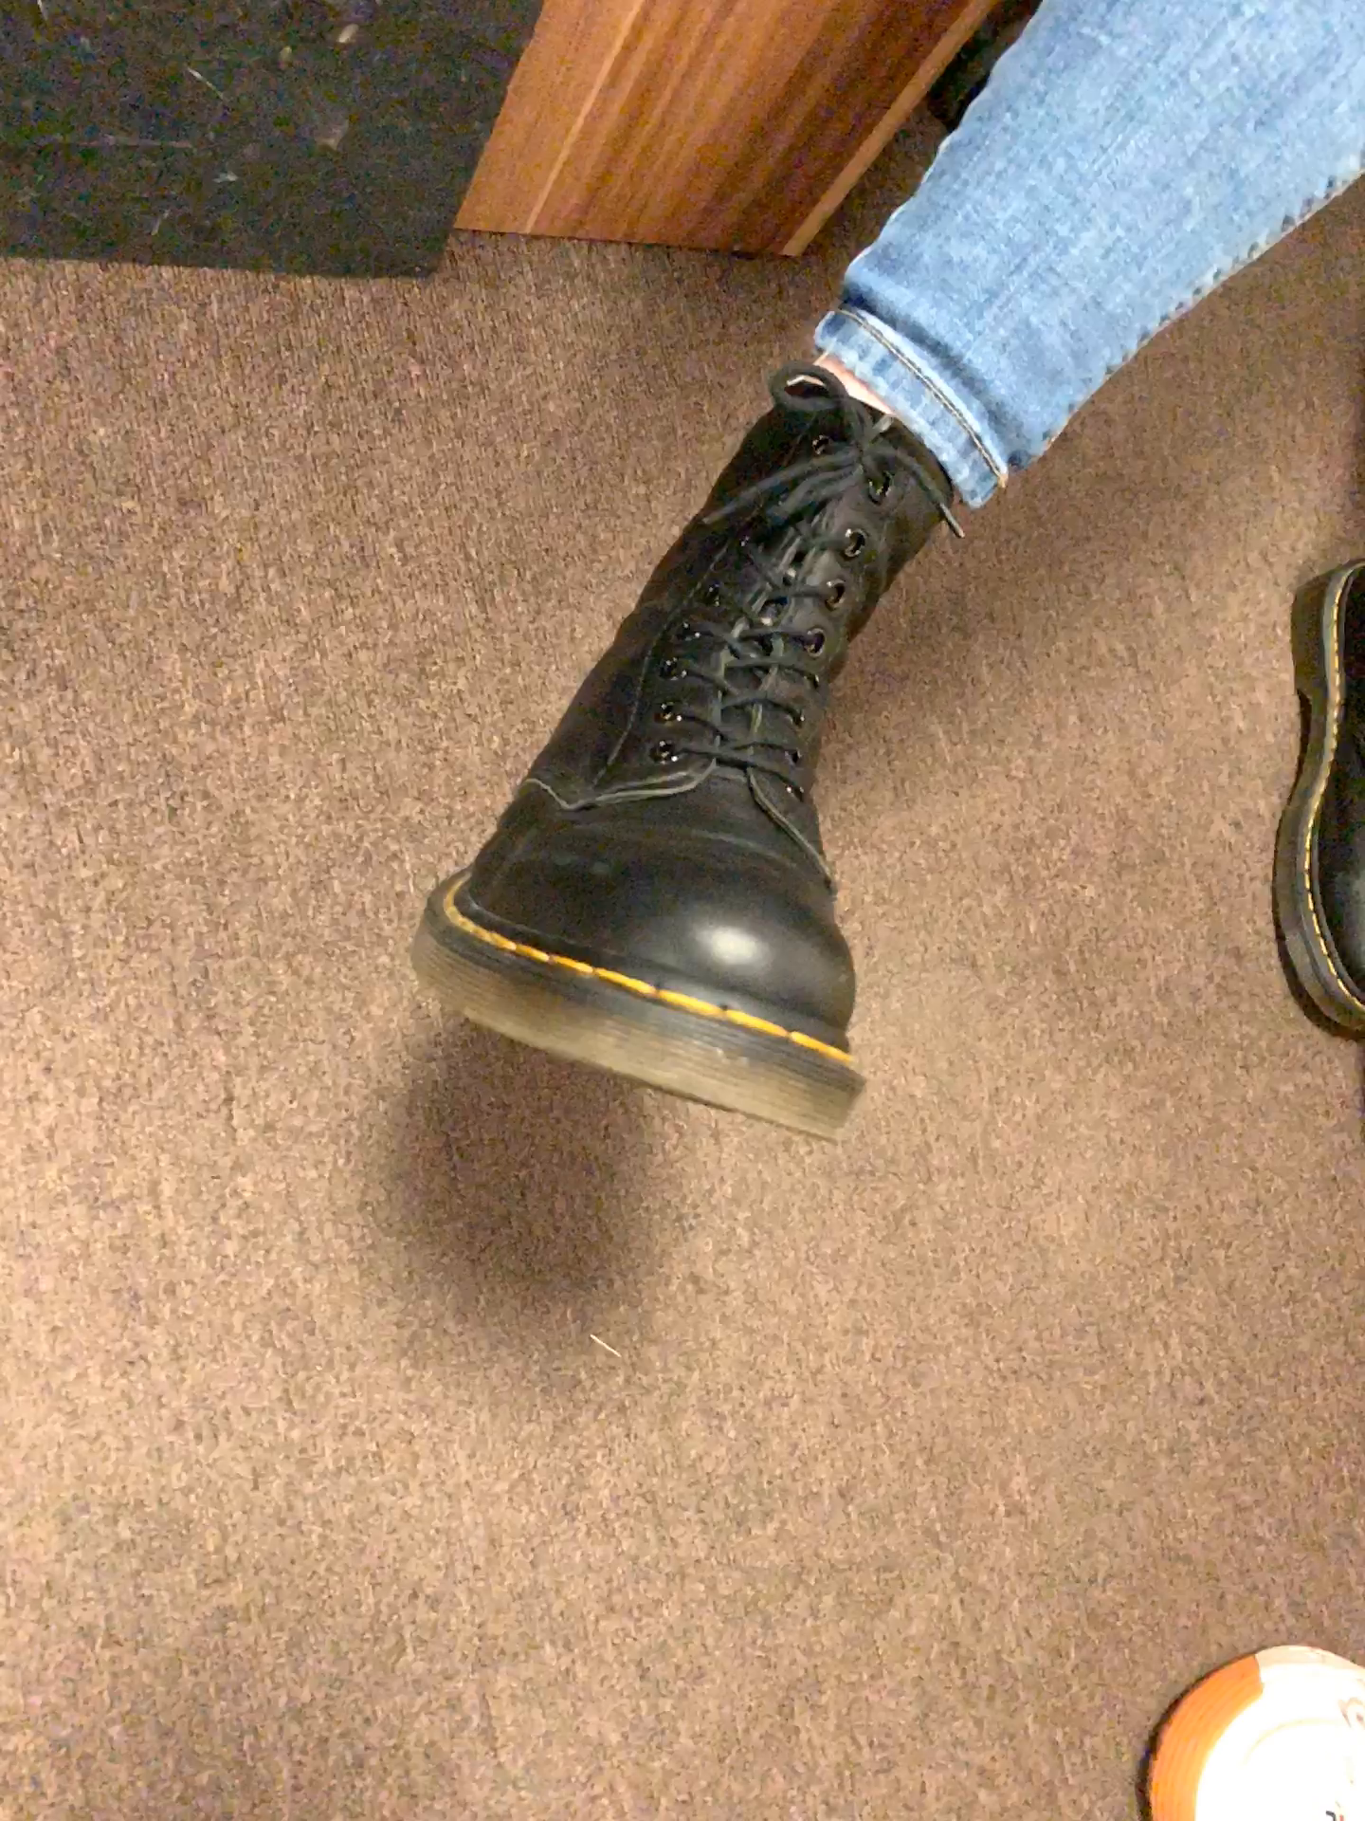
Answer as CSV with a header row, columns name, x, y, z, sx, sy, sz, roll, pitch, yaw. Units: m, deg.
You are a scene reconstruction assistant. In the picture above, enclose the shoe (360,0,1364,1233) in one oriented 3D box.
name,x,y,z,sx,sy,sz,roll,pitch,yaw
shoe,0.007,-0.099,0.447,0.120,0.370,0.230,27,96,-18
